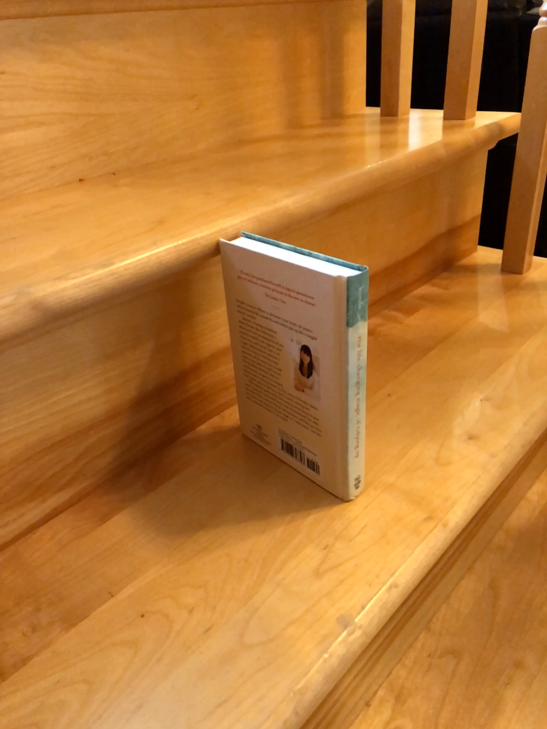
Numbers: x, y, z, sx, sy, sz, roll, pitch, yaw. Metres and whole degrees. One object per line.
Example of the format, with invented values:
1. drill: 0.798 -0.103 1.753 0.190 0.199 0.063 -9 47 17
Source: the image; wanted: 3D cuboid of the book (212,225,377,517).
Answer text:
1. book: 0.015 0.004 0.476 0.027 0.199 0.140 -26 36 -35
